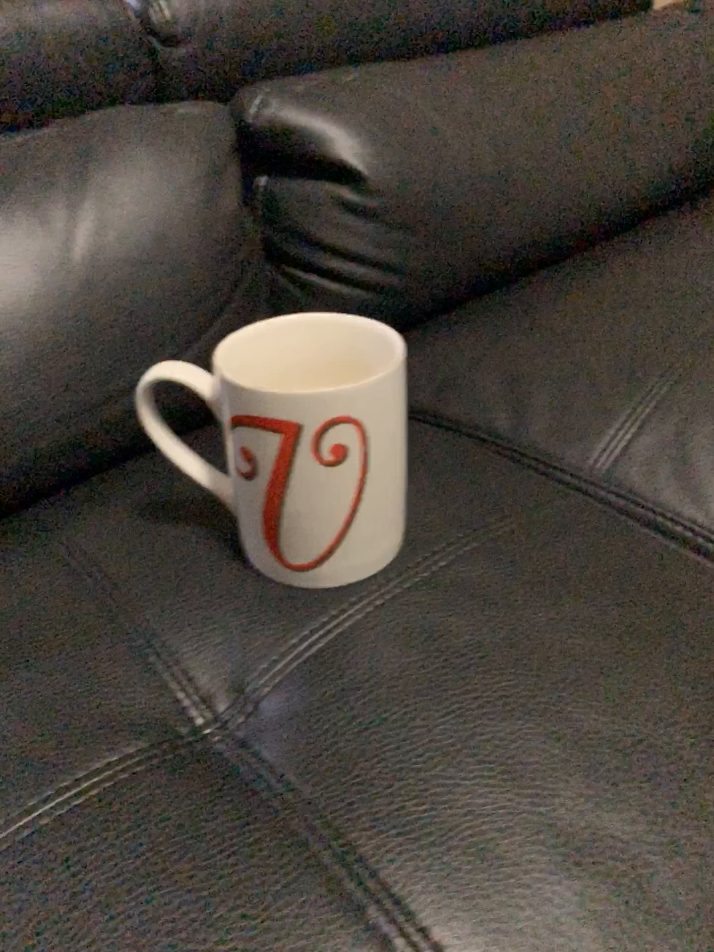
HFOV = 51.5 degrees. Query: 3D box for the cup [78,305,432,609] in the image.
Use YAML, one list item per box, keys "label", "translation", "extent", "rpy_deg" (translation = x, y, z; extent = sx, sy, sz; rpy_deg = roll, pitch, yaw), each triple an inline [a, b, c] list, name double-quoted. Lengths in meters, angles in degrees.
- label: "cup"
  translation: [-0.039, -0.015, 0.370]
  extent: [0.138, 0.106, 0.098]
  rpy_deg: [5, 32, 13]
